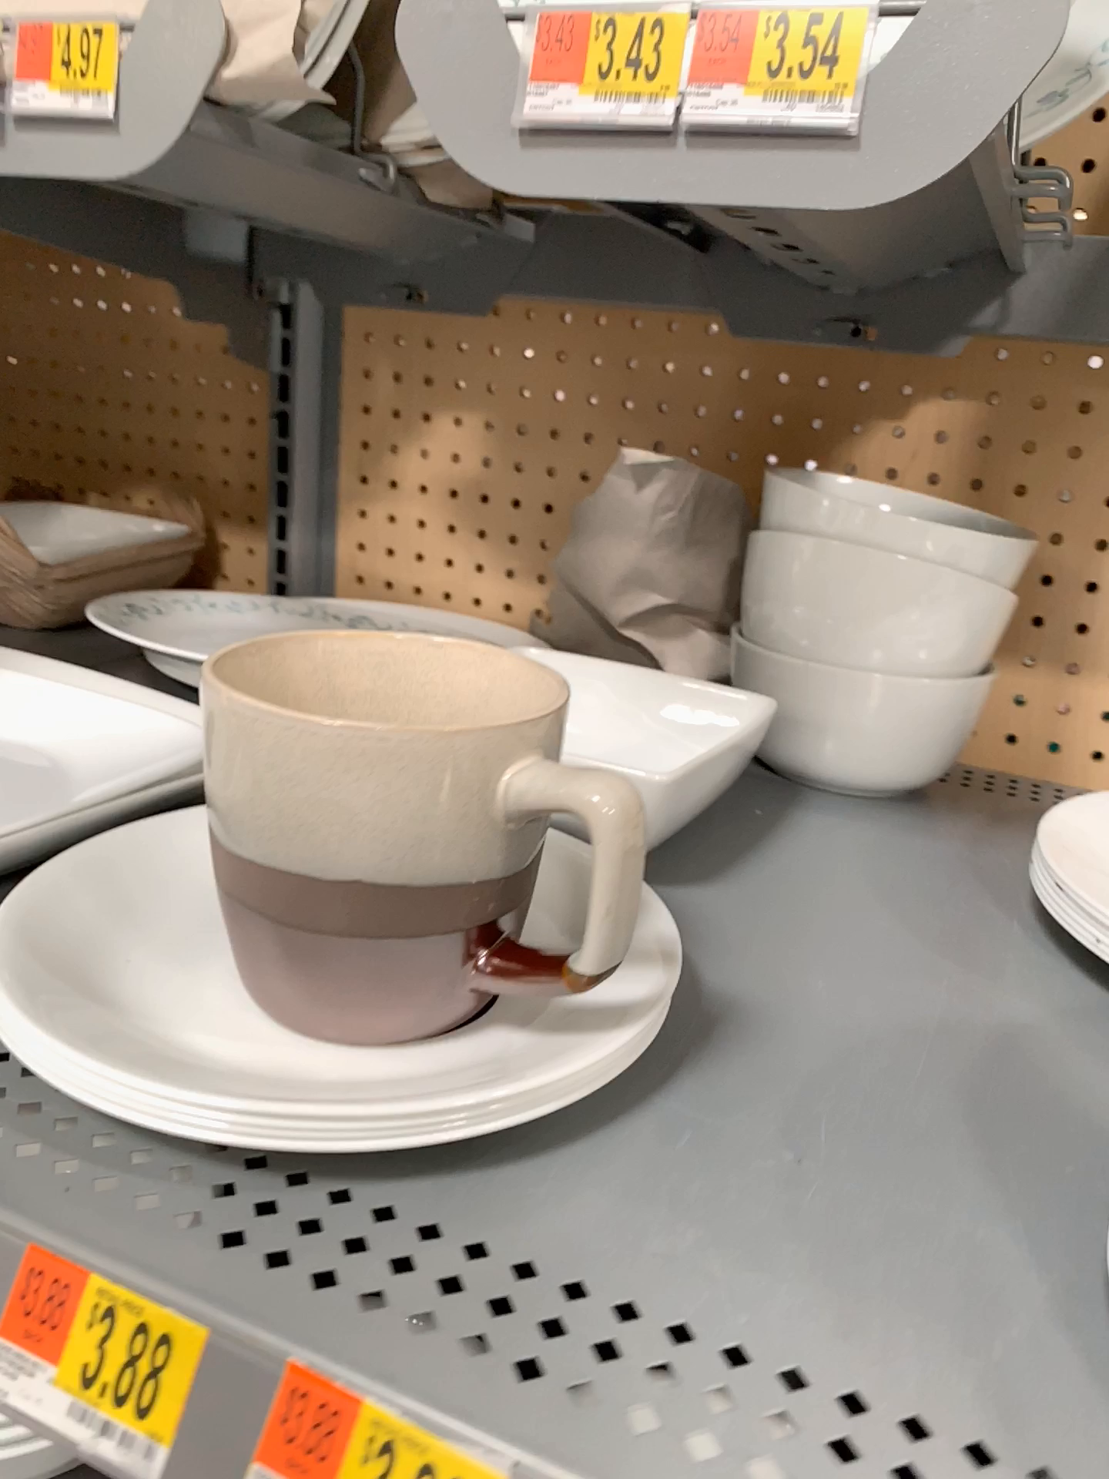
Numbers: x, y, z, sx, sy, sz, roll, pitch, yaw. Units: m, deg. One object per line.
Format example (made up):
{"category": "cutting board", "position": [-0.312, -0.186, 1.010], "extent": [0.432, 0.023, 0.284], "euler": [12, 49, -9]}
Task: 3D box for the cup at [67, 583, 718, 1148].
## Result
{"category": "cup", "position": [-0.043, 0.021, 0.323], "extent": [0.138, 0.096, 0.107], "euler": [13, 19, 24]}
